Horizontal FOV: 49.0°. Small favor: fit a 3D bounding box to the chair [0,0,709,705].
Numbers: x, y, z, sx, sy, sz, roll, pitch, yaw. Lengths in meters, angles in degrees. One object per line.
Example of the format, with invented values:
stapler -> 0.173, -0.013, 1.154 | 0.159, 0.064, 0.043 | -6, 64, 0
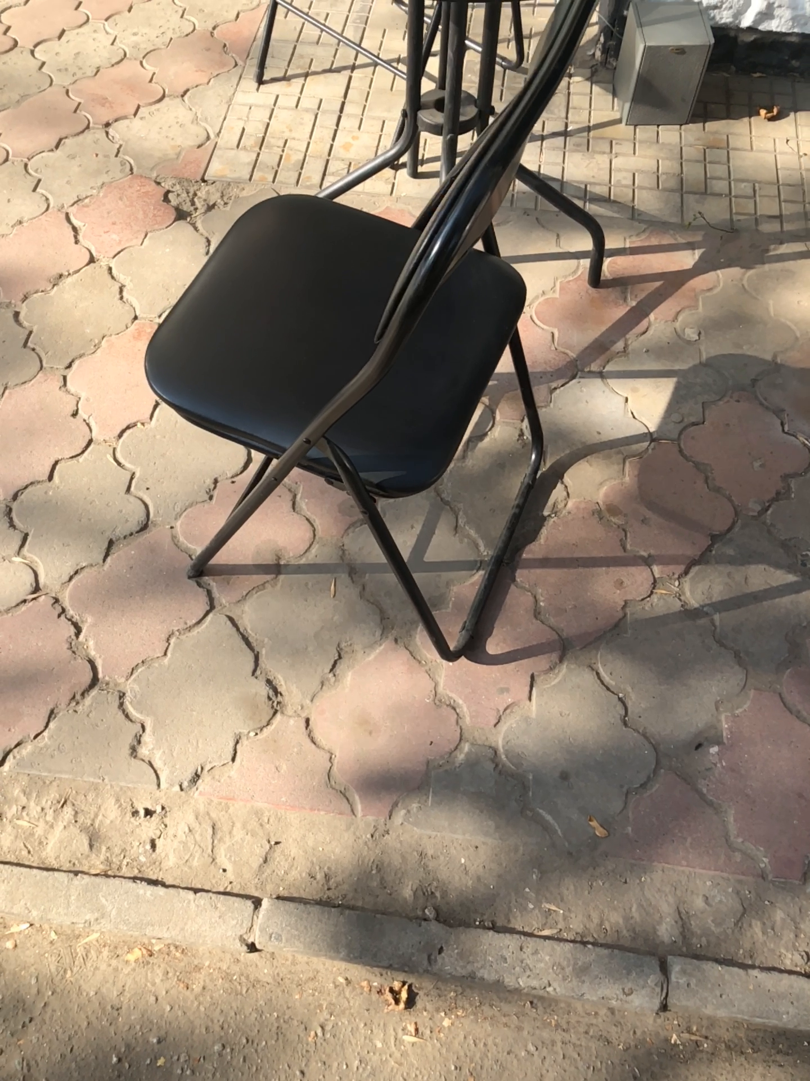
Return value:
chair -> -0.043, -0.248, 1.034 | 0.500, 0.638, 0.531 | 19, 60, 10
